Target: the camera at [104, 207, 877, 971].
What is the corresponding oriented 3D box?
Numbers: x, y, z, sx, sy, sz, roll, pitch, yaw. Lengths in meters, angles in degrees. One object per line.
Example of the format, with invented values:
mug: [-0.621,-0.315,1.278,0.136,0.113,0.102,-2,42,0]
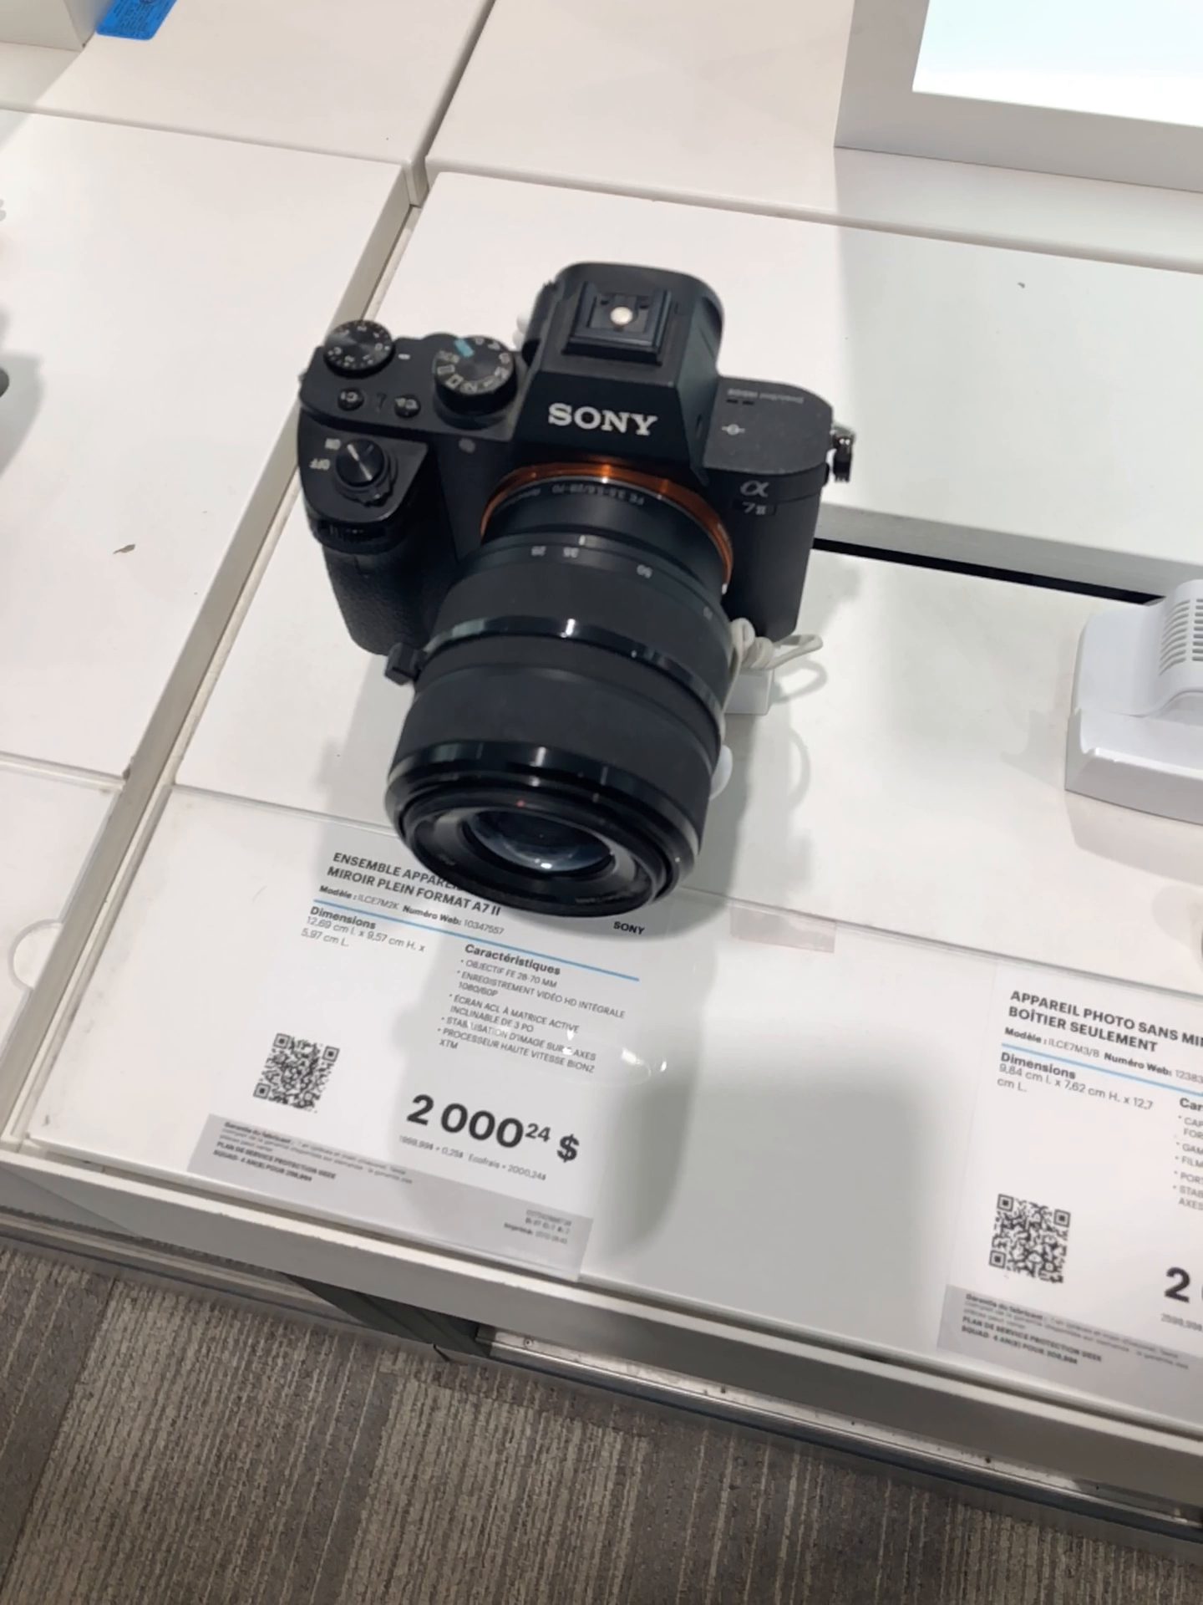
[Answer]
camera: [-0.015,-0.049,0.317,0.134,0.099,0.131,9,62,6]
